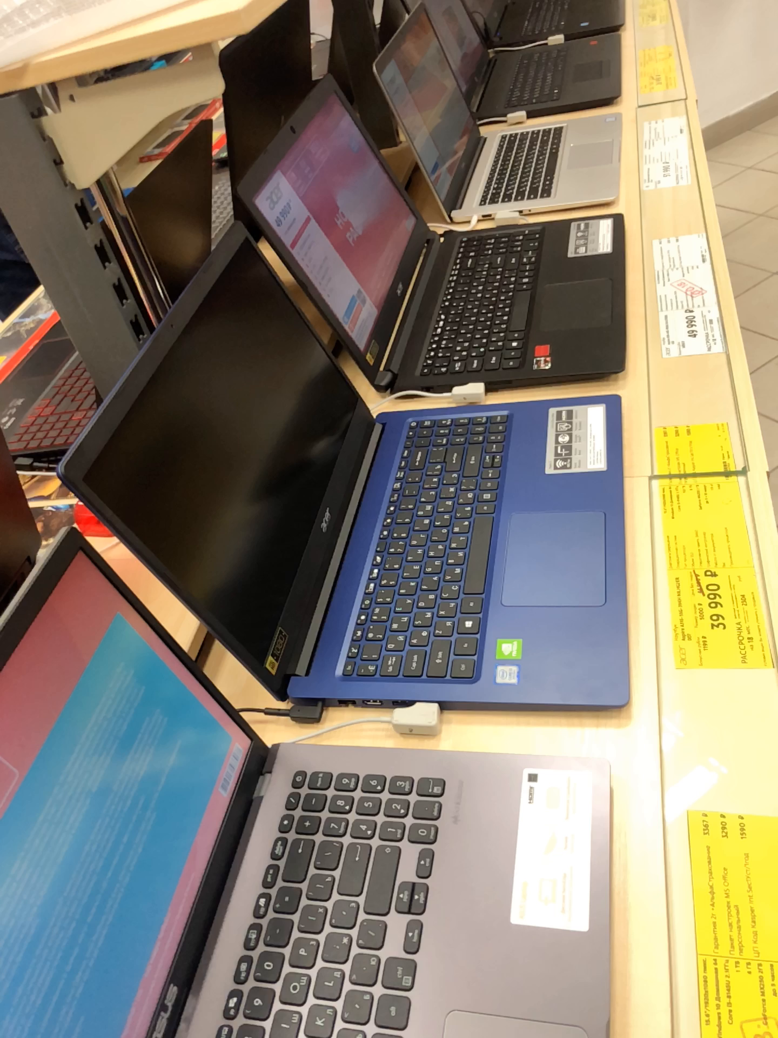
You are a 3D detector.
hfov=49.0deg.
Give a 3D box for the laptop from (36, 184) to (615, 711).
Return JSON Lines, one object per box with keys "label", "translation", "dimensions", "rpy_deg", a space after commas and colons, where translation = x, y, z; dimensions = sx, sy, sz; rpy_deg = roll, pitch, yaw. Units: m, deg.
{"label": "laptop", "translation": [-0.001, -0.071, 0.678], "dimensions": [0.327, 0.221, 0.359], "rpy_deg": [-2, 41, 14]}
